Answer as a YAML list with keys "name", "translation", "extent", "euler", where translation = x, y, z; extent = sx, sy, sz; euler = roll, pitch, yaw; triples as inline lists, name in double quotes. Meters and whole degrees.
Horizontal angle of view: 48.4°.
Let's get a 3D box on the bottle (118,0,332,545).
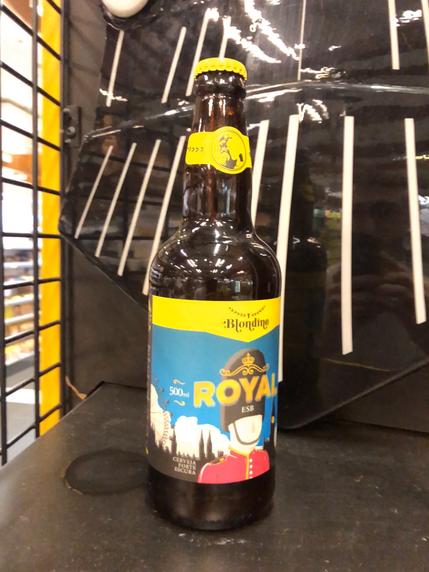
- name: "bottle"
  translation: [0.001, -0.010, 0.250]
  extent: [0.080, 0.240, 0.070]
  euler: [0, 4, -28]
